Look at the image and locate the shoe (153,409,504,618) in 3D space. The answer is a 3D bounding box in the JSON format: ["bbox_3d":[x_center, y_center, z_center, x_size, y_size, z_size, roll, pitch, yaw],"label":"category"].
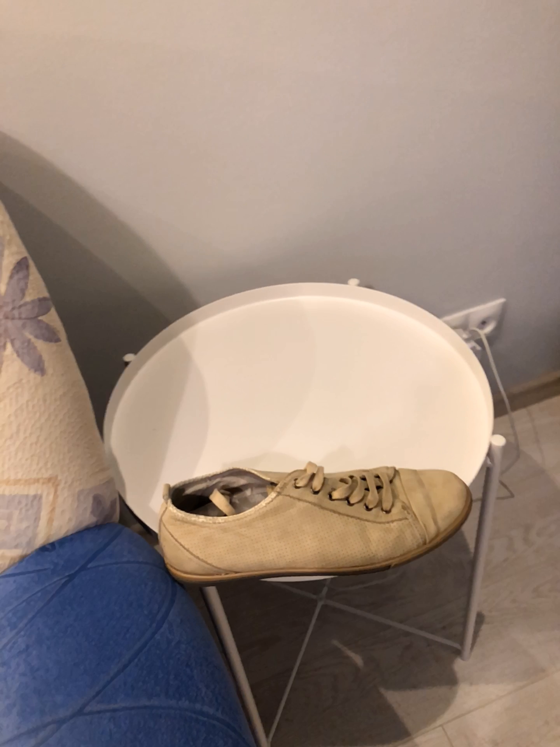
[{"bbox_3d":[0.035,0.119,0.546,0.280,0.070,0.111,-10,39,-4],"label":"shoe"}]
